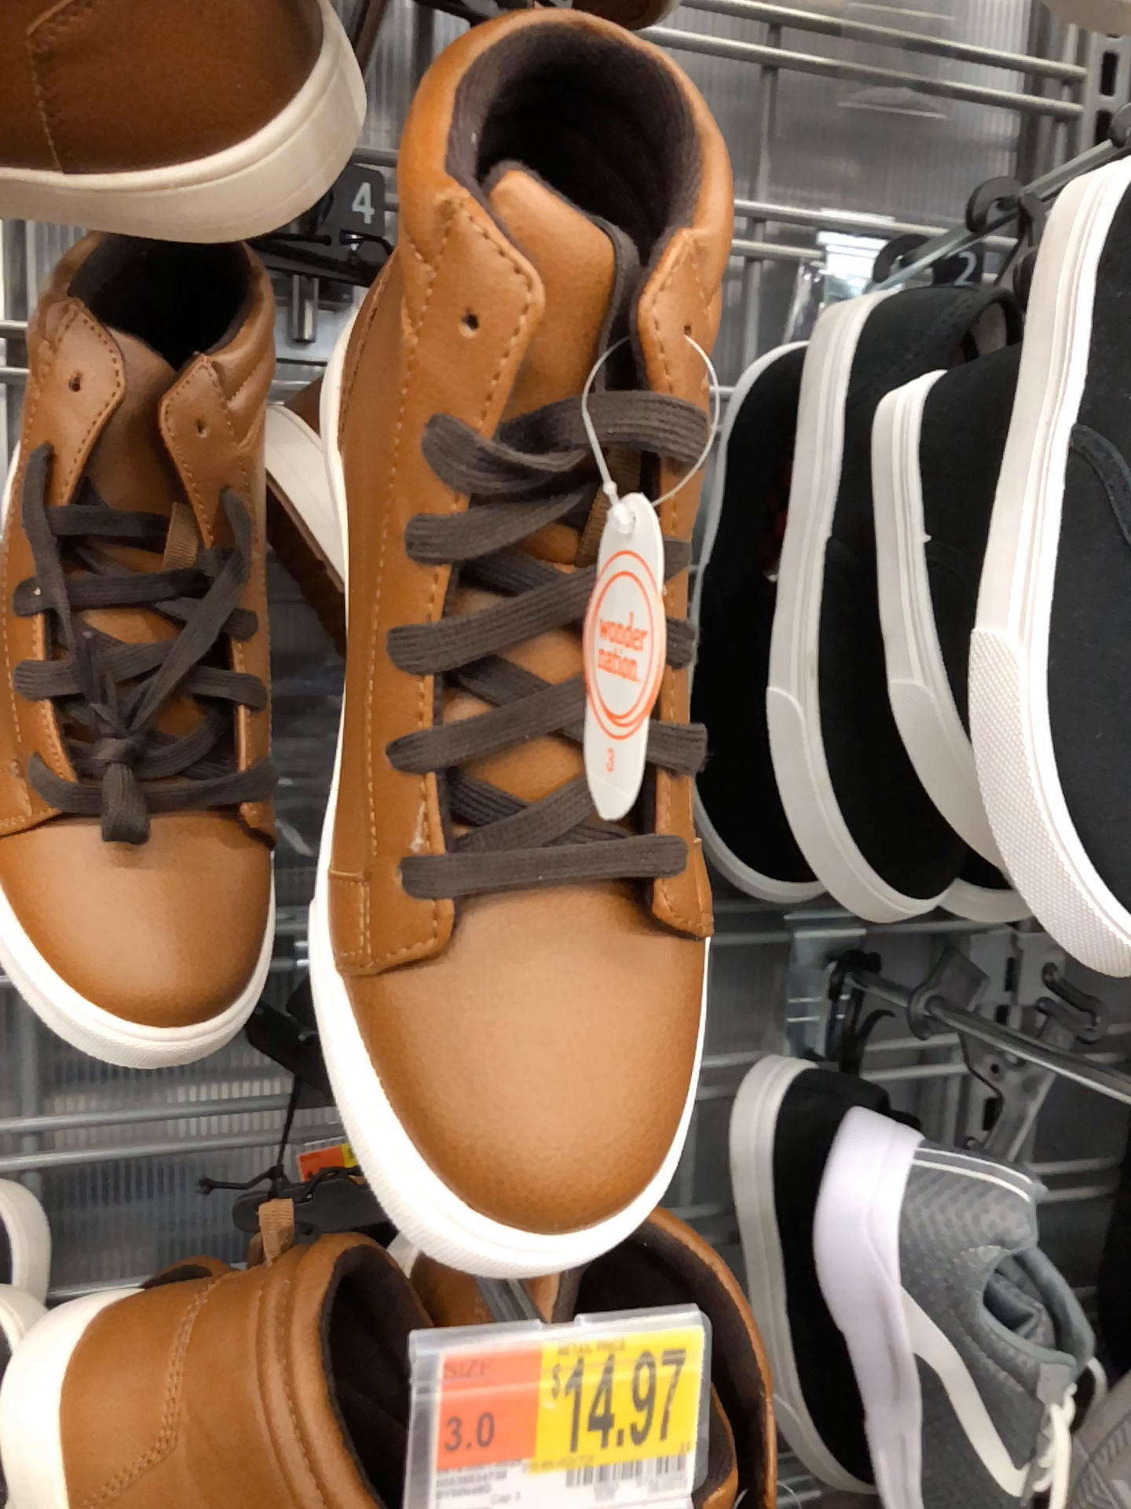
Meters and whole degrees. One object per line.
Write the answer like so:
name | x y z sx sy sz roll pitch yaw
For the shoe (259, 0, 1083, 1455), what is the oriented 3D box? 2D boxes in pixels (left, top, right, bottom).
shoe | 0.003 -0.016 0.243 0.096 0.227 0.110 -1 -11 -23
